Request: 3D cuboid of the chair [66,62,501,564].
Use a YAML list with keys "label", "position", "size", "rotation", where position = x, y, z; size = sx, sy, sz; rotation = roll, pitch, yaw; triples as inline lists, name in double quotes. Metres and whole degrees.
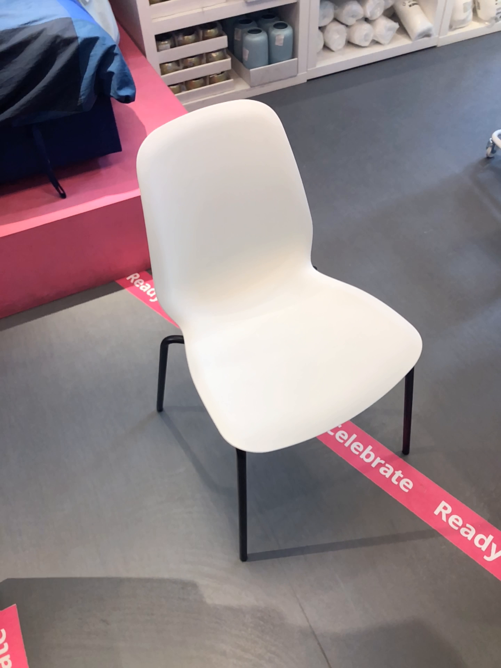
- label: "chair"
  position: [0.064, -0.011, 1.123]
  size: [0.511, 0.756, 0.492]
  rotation: [-27, 54, -18]
